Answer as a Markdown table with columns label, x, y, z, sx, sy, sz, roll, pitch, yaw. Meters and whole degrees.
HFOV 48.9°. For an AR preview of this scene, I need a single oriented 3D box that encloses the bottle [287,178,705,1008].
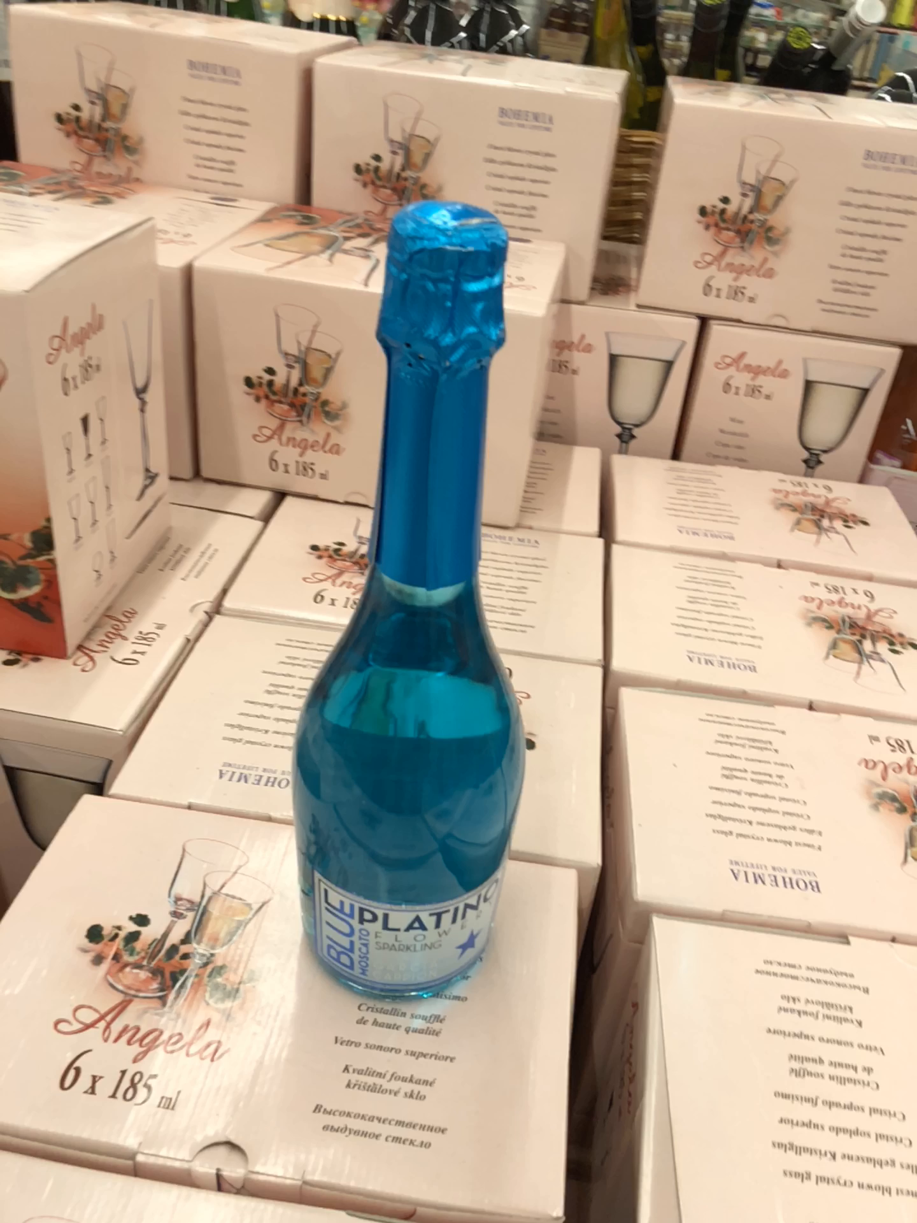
| label | x | y | z | sx | sy | sz | roll | pitch | yaw |
| --- | --- | --- | --- | --- | --- | --- | --- | --- | --- |
| bottle | -0.009 | 0.008 | 0.360 | 0.100 | 0.278 | 0.101 | 5 | 33 | -3 |

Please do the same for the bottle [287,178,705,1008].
| label | x | y | z | sx | sy | sz | roll | pitch | yaw |
| --- | --- | --- | --- | --- | --- | --- | --- | --- | --- |
| bottle | -0.009 | 0.008 | 0.360 | 0.100 | 0.278 | 0.101 | 5 | 33 | -3 |
